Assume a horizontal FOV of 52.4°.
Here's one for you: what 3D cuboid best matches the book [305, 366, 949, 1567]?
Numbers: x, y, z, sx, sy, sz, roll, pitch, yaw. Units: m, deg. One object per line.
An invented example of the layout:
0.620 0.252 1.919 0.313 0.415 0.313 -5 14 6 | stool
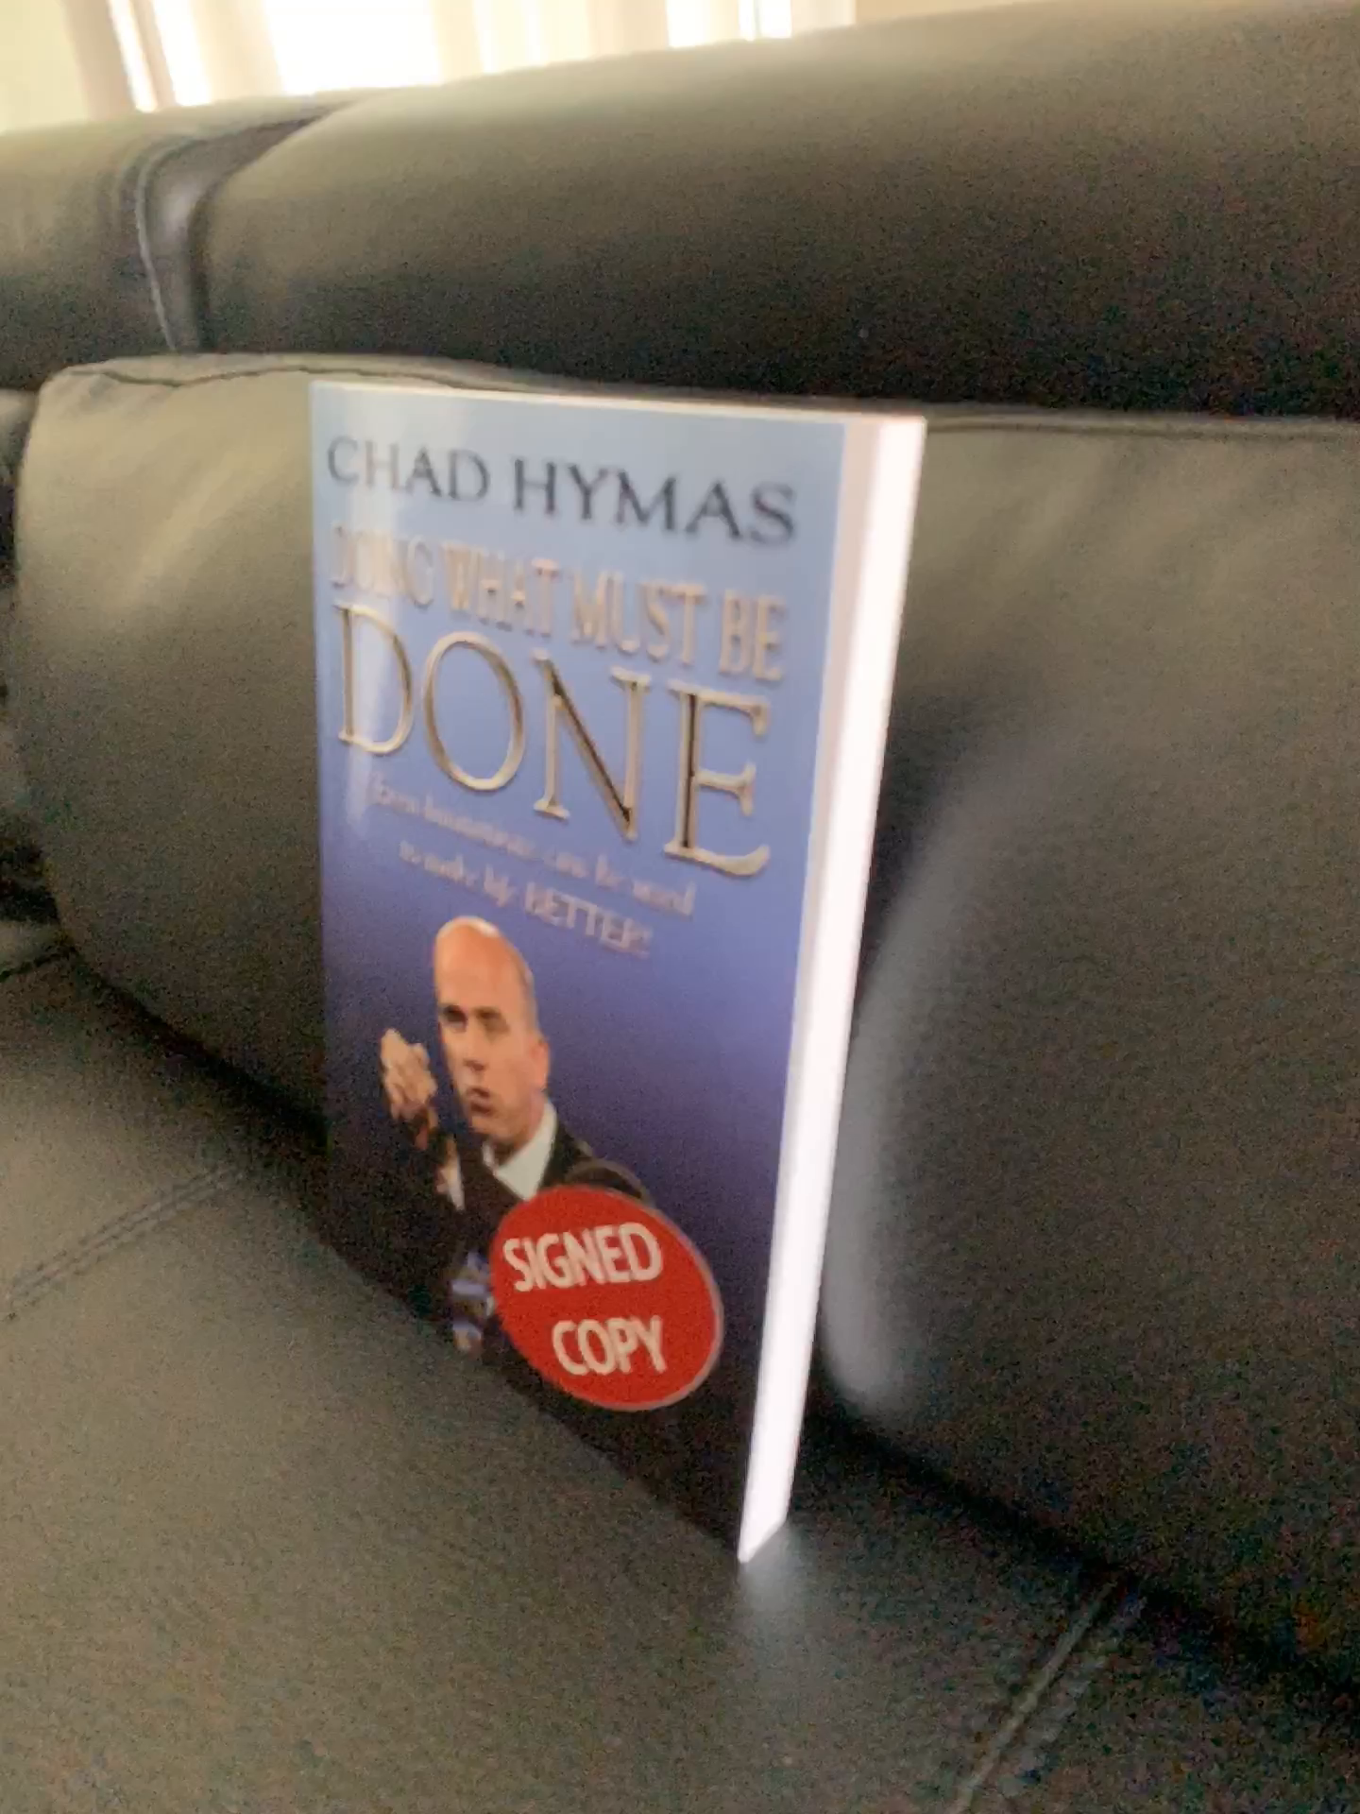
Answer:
-0.030 0.004 0.308 0.157 0.225 0.025 22 24 40 | book
